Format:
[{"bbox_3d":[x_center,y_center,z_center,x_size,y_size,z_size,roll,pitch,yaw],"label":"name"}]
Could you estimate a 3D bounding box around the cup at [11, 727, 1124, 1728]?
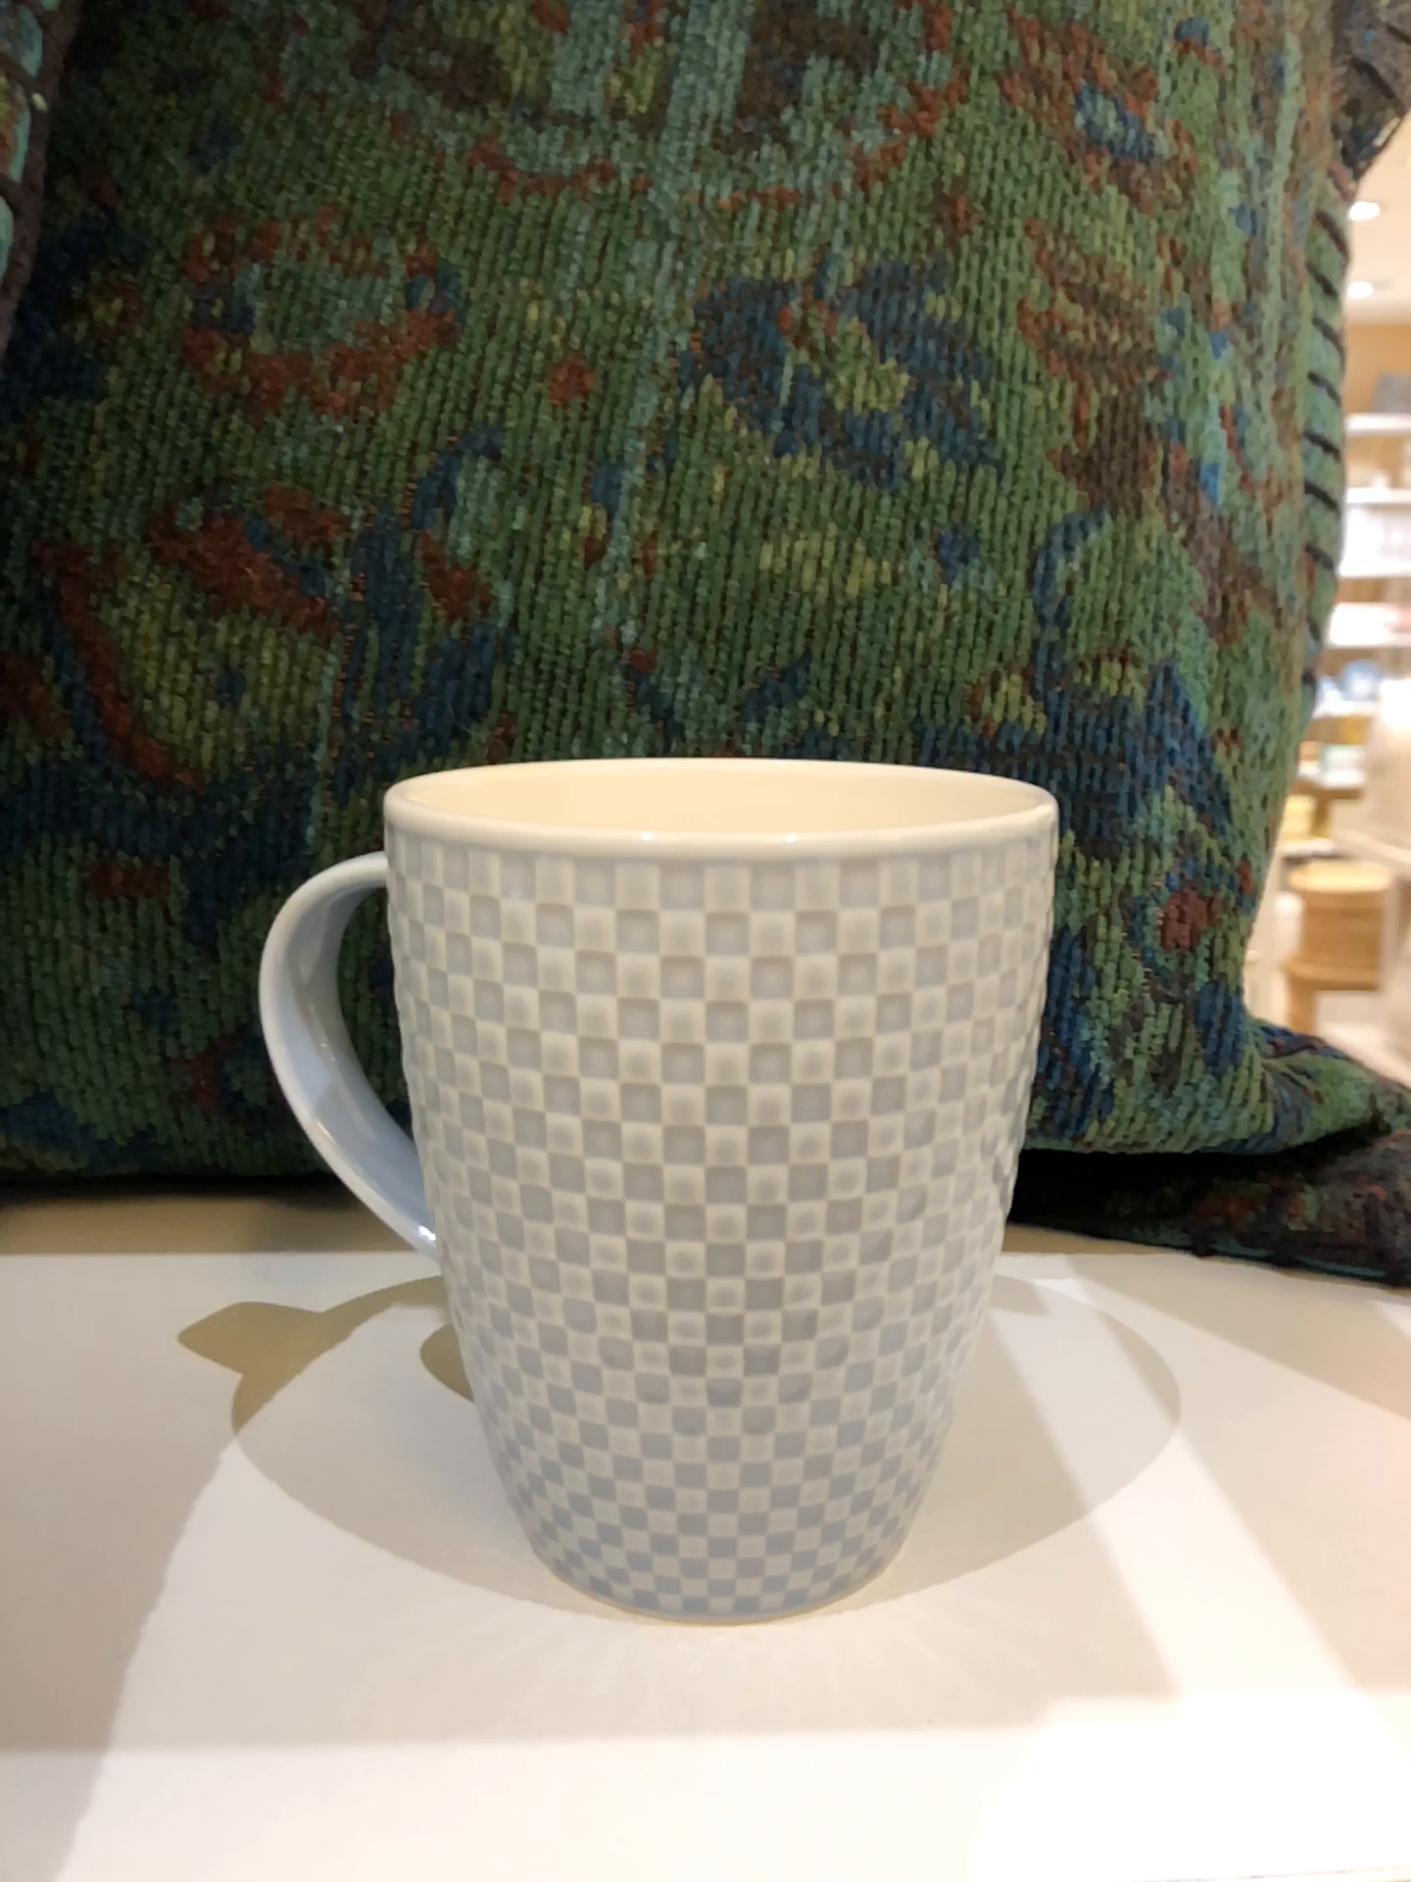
[{"bbox_3d":[-0.010,0.019,0.196,0.100,0.080,0.090,6,13,26],"label":"cup"}]
